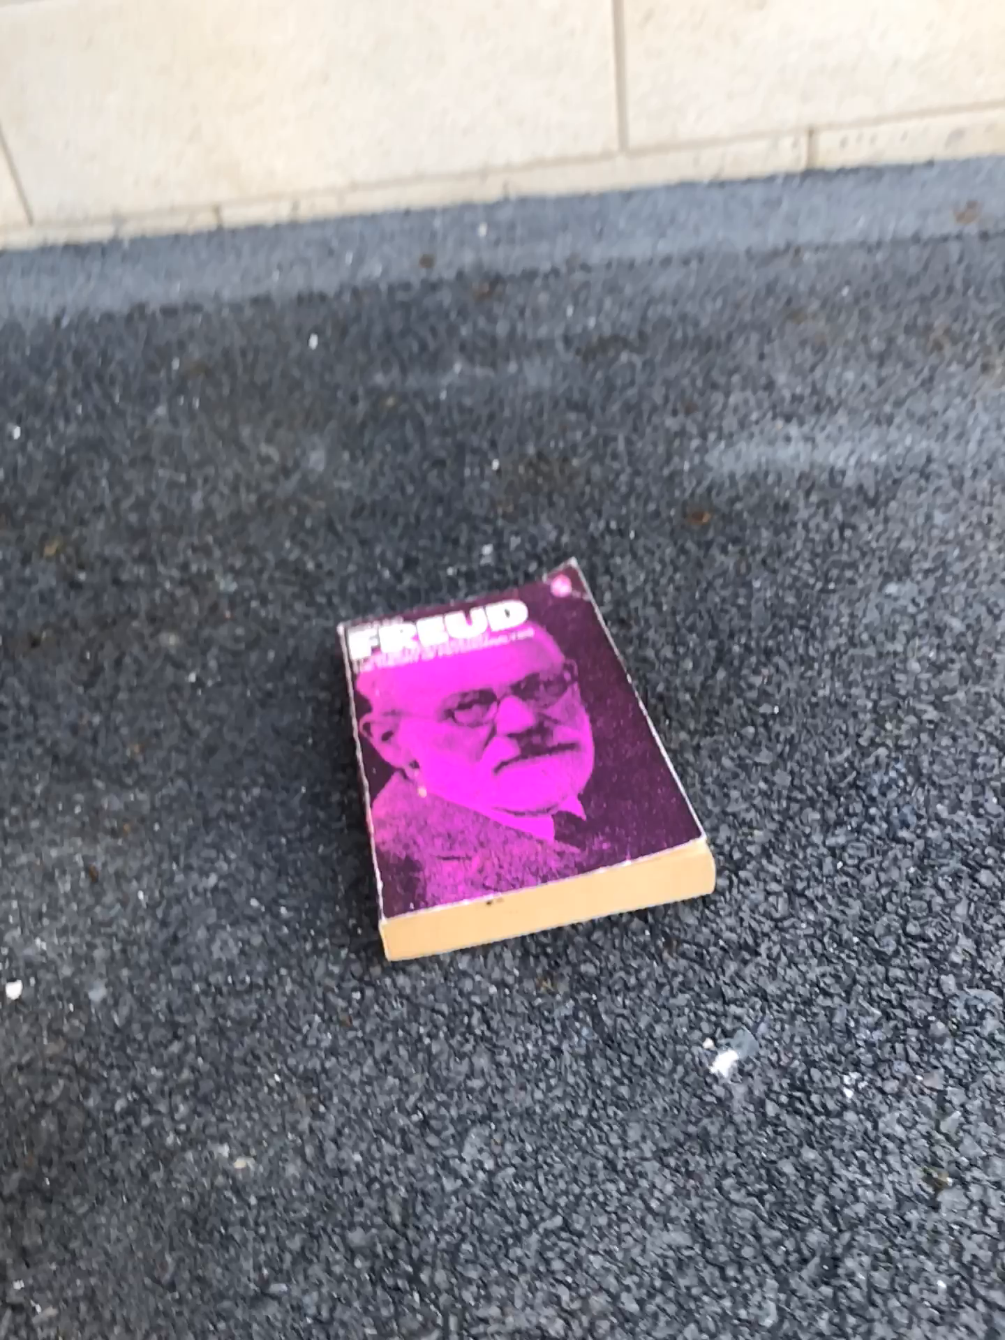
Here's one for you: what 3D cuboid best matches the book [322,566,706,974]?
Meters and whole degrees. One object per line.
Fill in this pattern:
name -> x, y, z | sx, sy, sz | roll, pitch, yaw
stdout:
book -> -0.006, 0.030, 0.489 | 0.131, 0.031, 0.195 | -12, 38, -5
